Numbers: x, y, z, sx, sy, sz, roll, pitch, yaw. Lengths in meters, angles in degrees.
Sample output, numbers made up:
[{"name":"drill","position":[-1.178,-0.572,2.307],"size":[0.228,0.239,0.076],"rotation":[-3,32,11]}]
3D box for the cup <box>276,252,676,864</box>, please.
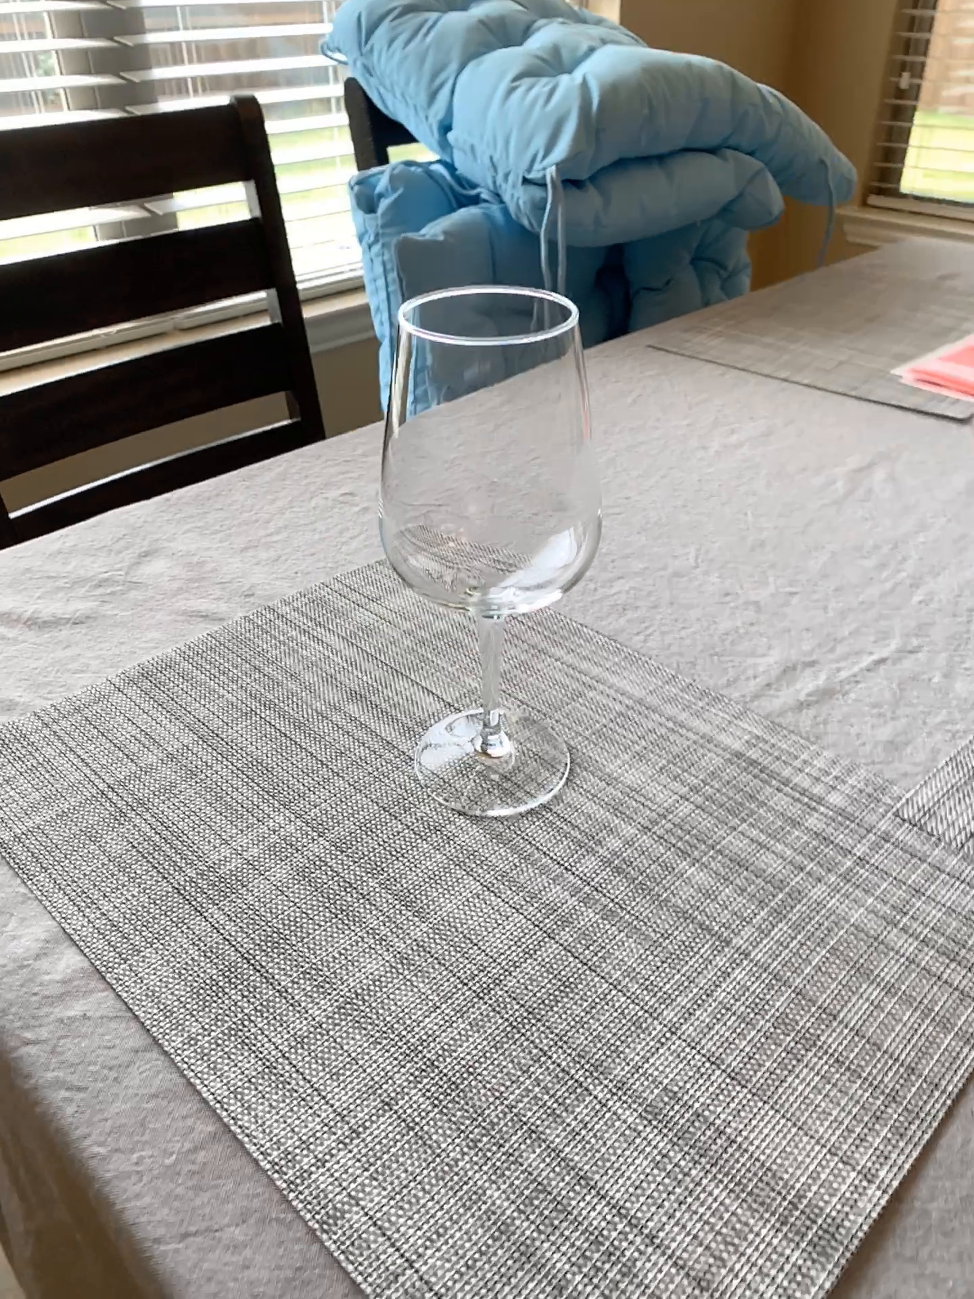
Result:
[{"name":"cup","position":[-0.005,-0.039,0.425],"size":[0.100,0.214,0.107],"rotation":[0,35,0]}]
